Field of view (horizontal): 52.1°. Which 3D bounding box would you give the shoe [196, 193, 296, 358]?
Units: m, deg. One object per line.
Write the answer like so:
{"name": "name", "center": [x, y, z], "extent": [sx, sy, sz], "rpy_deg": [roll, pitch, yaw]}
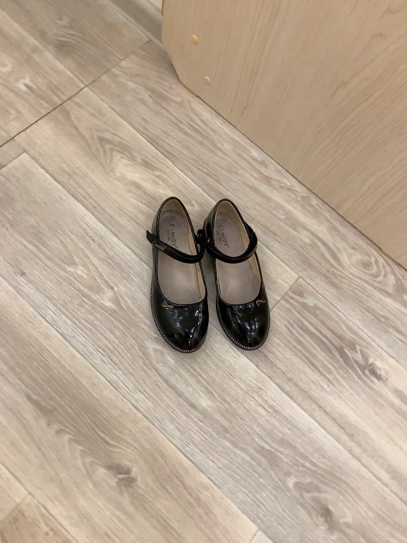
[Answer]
{"name": "shoe", "center": [0.063, 0.008, 0.703], "extent": [0.090, 0.100, 0.250], "rpy_deg": [-9, 74, -12]}

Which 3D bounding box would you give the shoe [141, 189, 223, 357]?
{"name": "shoe", "center": [-0.042, 0.003, 0.686], "extent": [0.090, 0.100, 0.250], "rpy_deg": [-6, 73, -11]}
